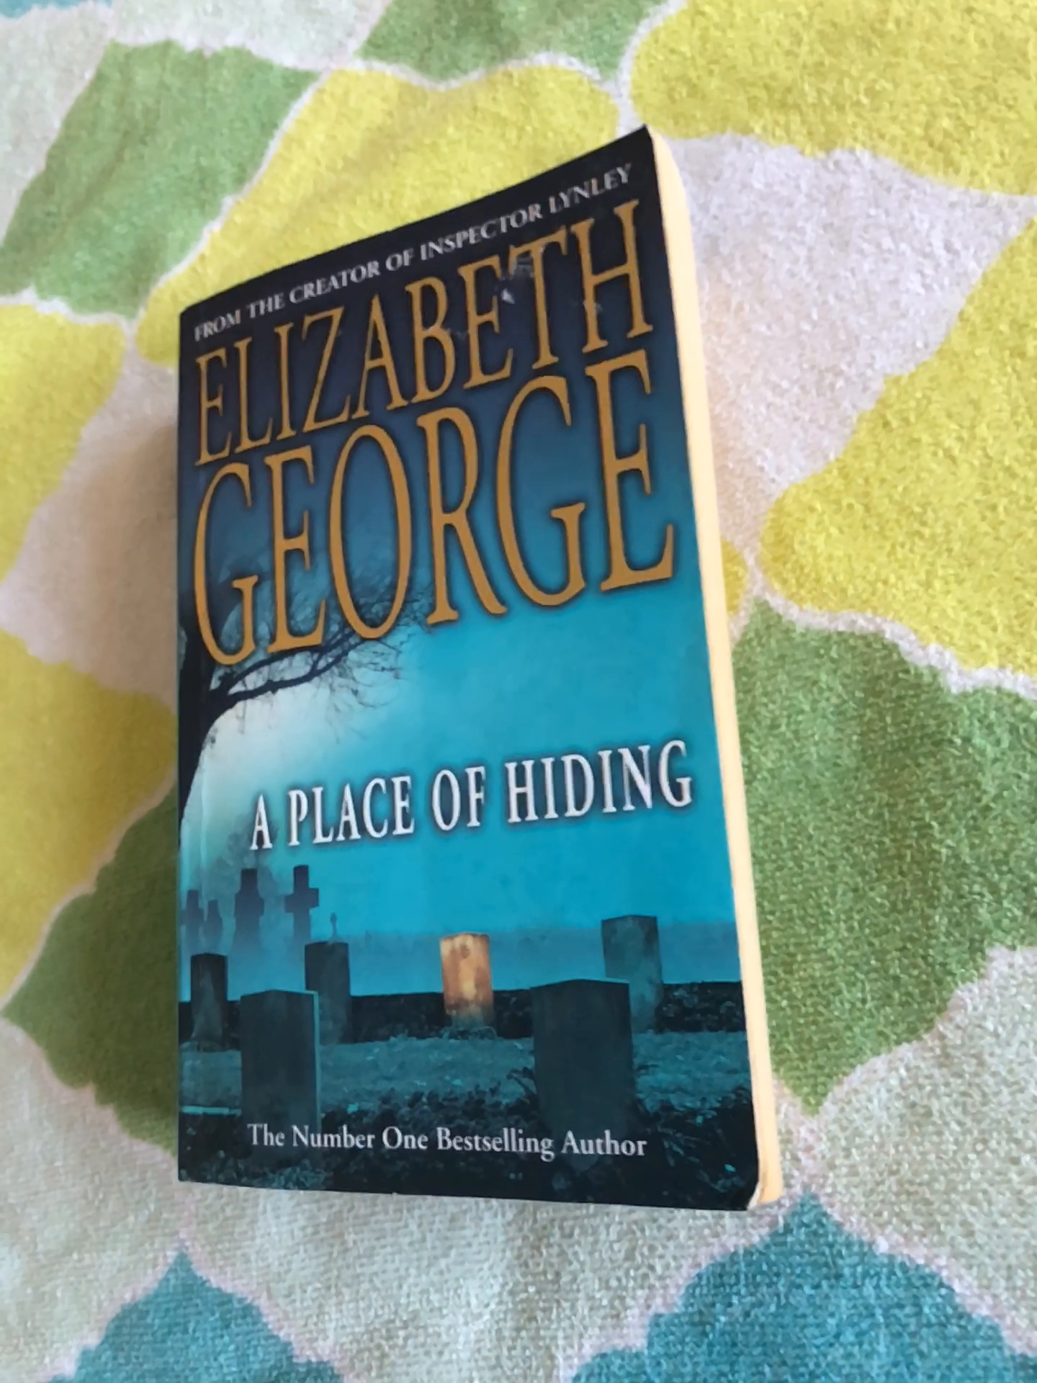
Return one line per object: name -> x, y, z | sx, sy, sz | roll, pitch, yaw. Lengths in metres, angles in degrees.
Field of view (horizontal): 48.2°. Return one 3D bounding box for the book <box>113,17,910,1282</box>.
book -> -0.003, -0.003, 0.242 | 0.130, 0.070, 0.210 | -9, 81, 18
